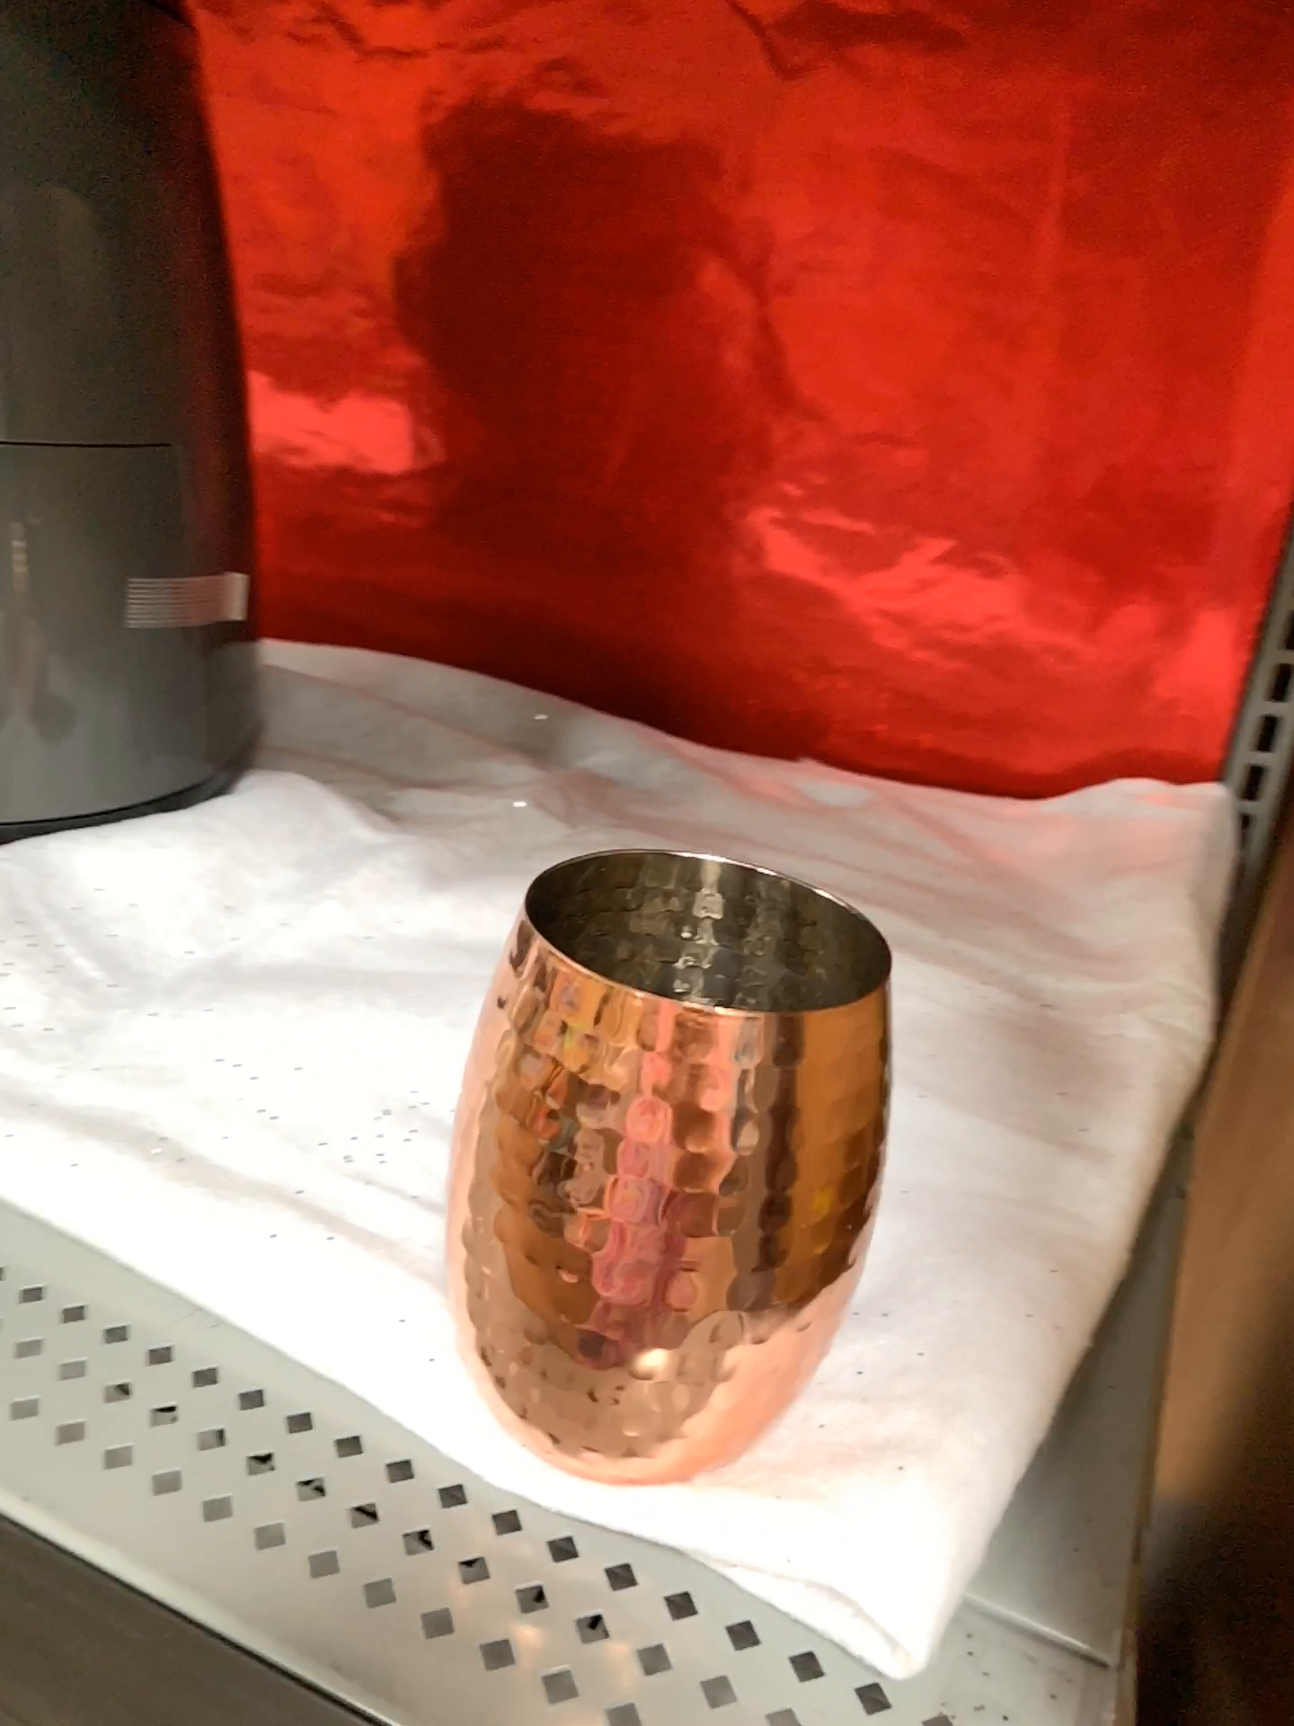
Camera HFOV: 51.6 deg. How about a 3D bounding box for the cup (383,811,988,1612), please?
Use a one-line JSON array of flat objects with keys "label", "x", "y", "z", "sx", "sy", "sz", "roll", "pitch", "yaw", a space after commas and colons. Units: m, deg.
[{"label": "cup", "x": 0.007, "y": 0.059, "z": 0.261, "sx": 0.078, "sy": 0.104, "sz": 0.080, "roll": 5, "pitch": 23, "yaw": -2}]
